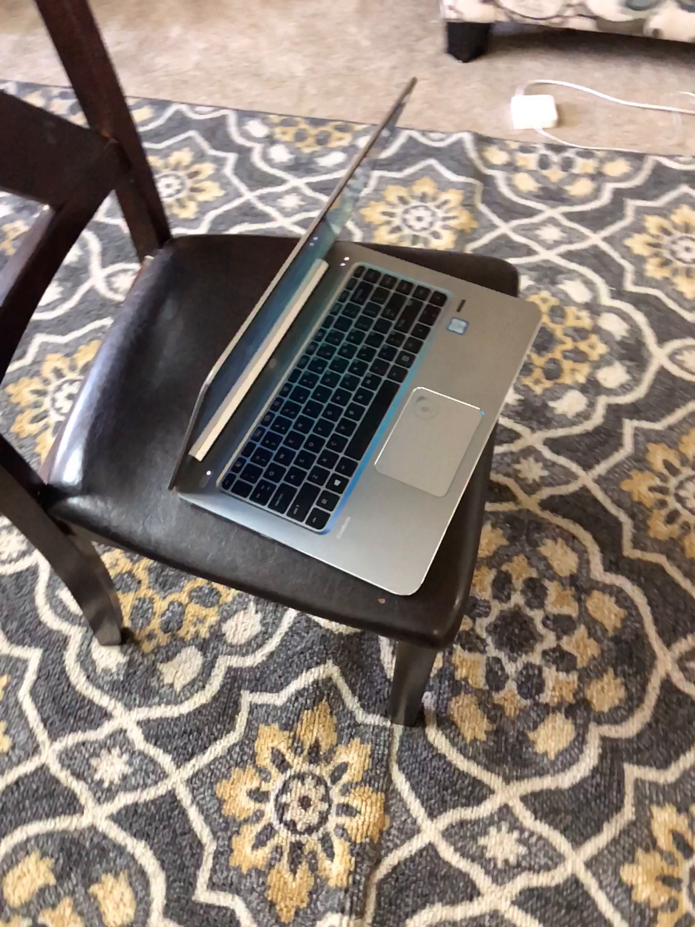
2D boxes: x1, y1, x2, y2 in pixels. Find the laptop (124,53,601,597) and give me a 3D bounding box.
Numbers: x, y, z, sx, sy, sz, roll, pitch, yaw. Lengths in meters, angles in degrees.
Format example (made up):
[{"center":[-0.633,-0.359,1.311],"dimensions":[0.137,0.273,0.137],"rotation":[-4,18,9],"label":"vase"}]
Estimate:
[{"center":[0.027,-0.114,0.603],"dimensions":[0.211,0.194,0.323],"rotation":[22,62,13],"label":"laptop"}]
